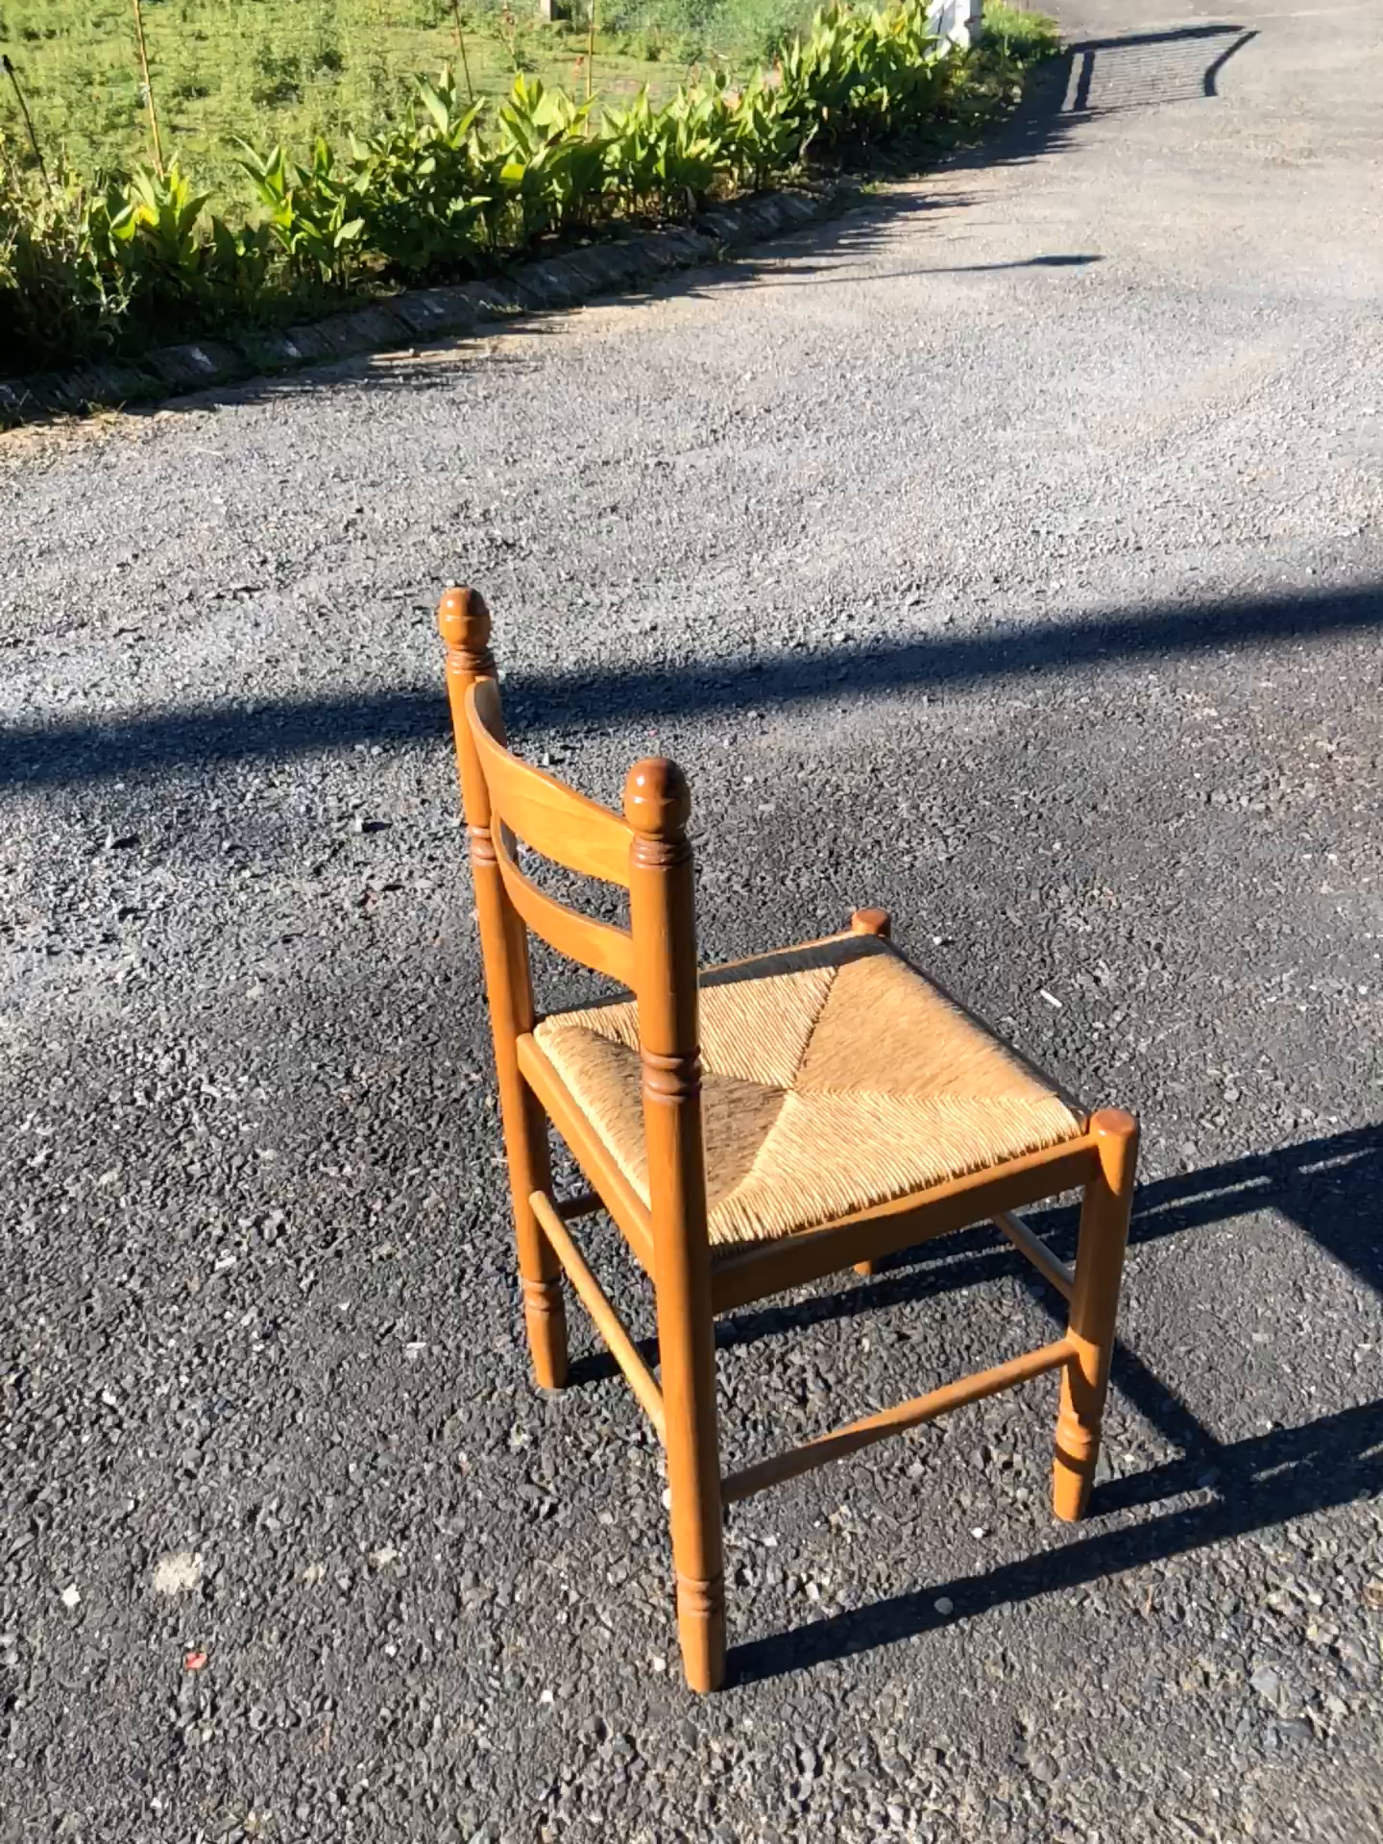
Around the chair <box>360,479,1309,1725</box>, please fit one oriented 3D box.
[{"bbox_3d":[0.086,0.121,1.270,0.491,0.796,0.491,-16,33,-20],"label":"chair"}]
